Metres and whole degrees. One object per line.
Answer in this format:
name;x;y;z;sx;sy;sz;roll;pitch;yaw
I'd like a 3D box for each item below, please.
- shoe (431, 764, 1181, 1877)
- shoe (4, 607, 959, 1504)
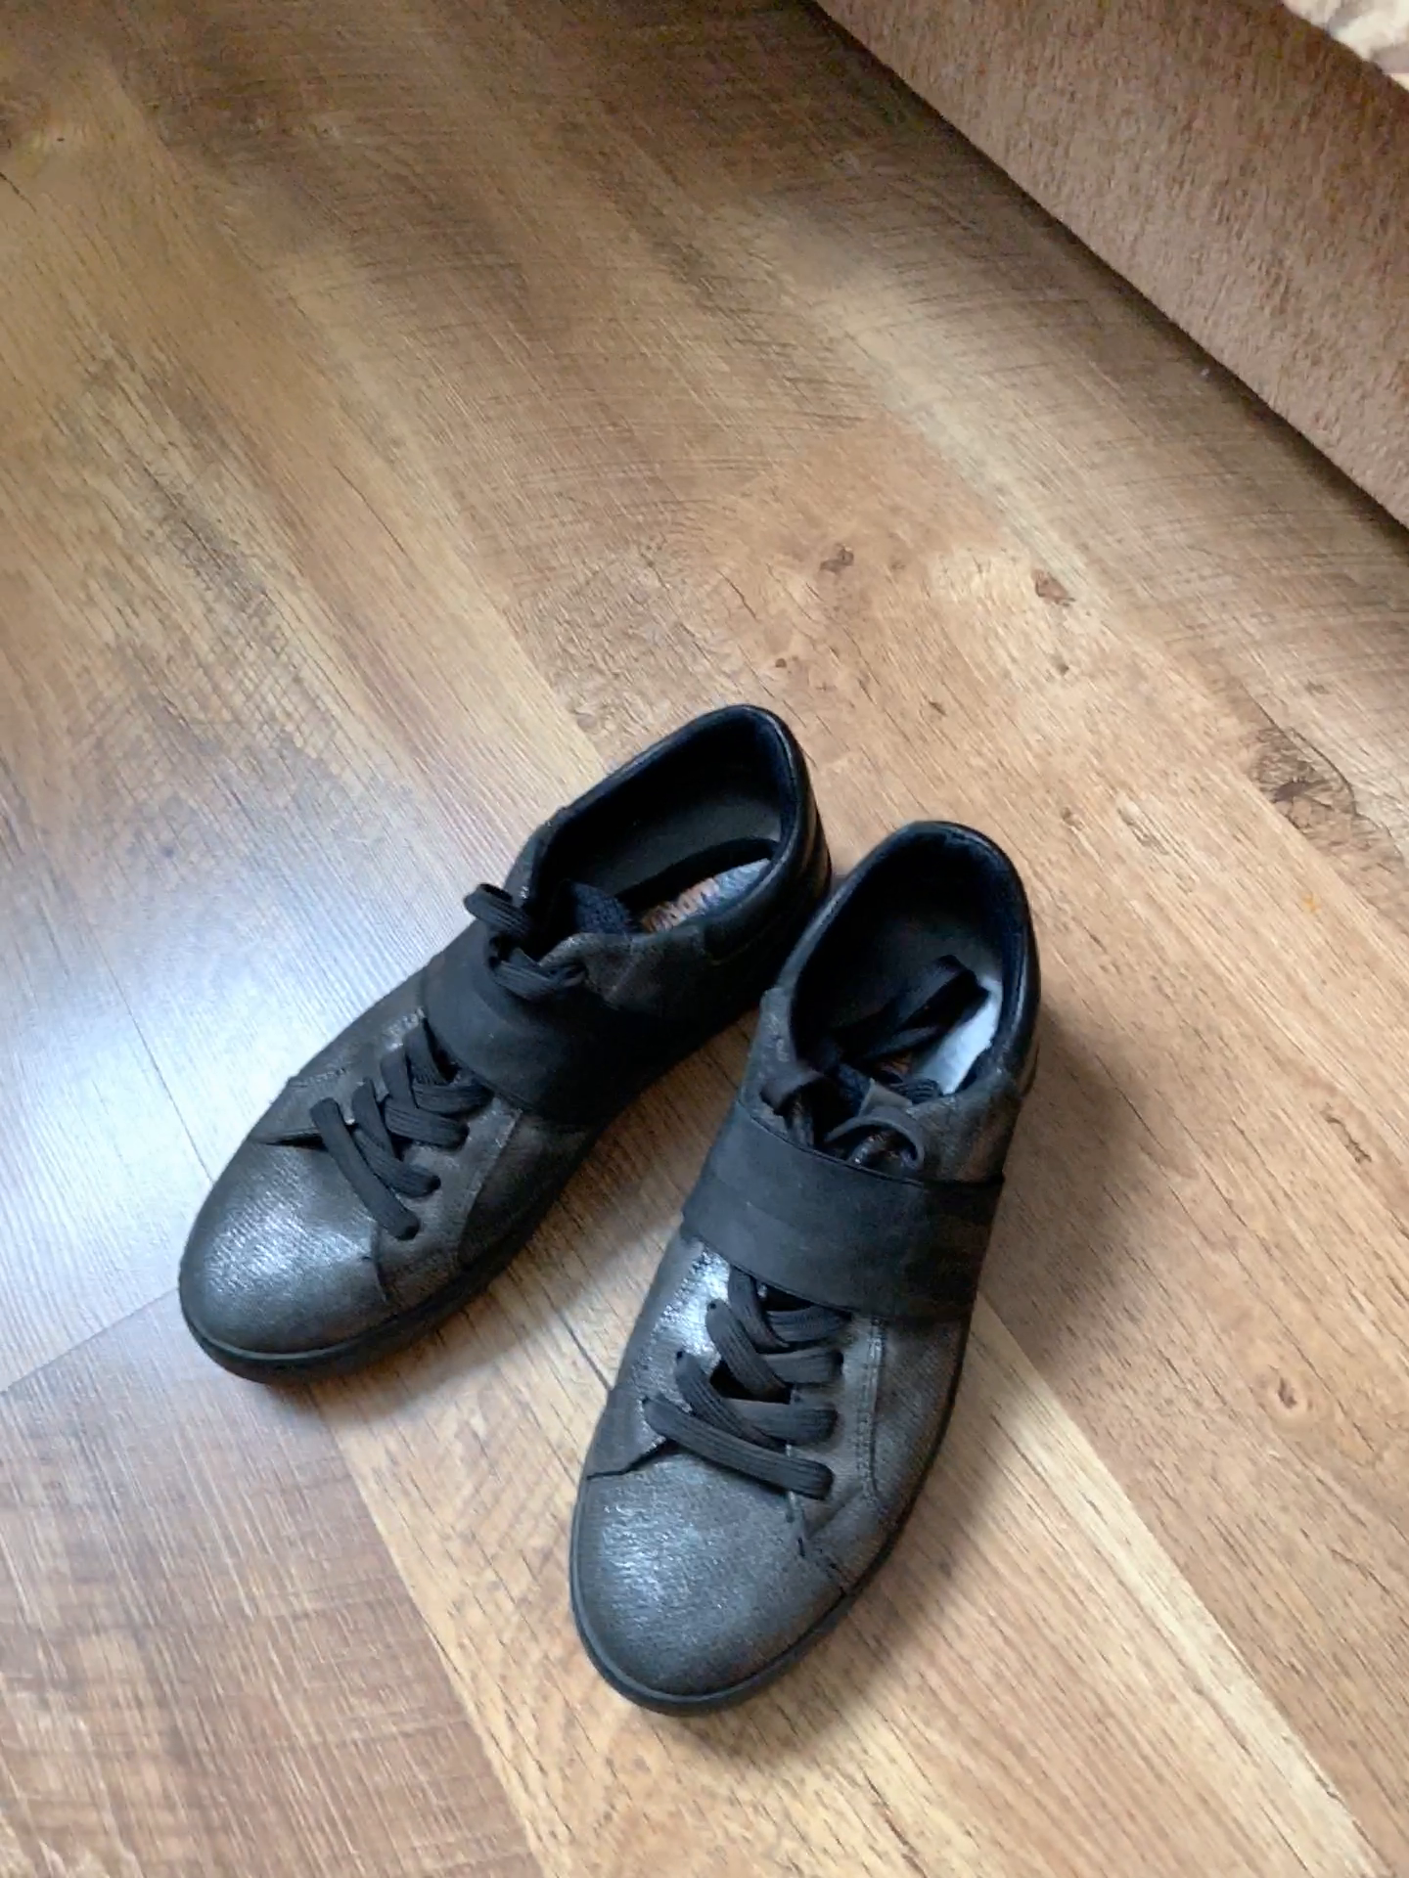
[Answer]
shoe;0.038;0.093;0.404;0.100;0.090;0.260;20;66;13
shoe;-0.053;0.031;0.437;0.260;0.090;0.100;-42;68;-16
